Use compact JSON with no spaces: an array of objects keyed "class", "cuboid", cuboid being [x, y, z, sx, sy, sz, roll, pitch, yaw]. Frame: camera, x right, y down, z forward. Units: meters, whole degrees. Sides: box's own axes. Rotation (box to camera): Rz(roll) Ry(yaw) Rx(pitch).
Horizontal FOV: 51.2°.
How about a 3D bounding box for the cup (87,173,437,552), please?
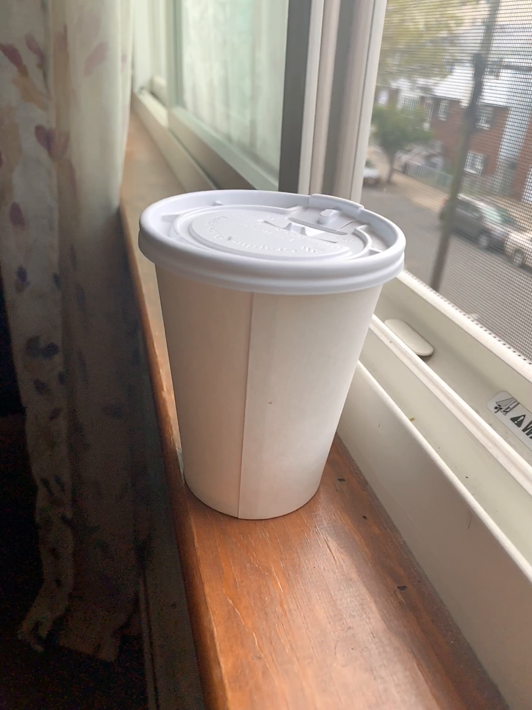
[{"class":"cup","cuboid":[0.000,-0.004,0.205,0.090,0.099,0.091,3,28,-2]}]
